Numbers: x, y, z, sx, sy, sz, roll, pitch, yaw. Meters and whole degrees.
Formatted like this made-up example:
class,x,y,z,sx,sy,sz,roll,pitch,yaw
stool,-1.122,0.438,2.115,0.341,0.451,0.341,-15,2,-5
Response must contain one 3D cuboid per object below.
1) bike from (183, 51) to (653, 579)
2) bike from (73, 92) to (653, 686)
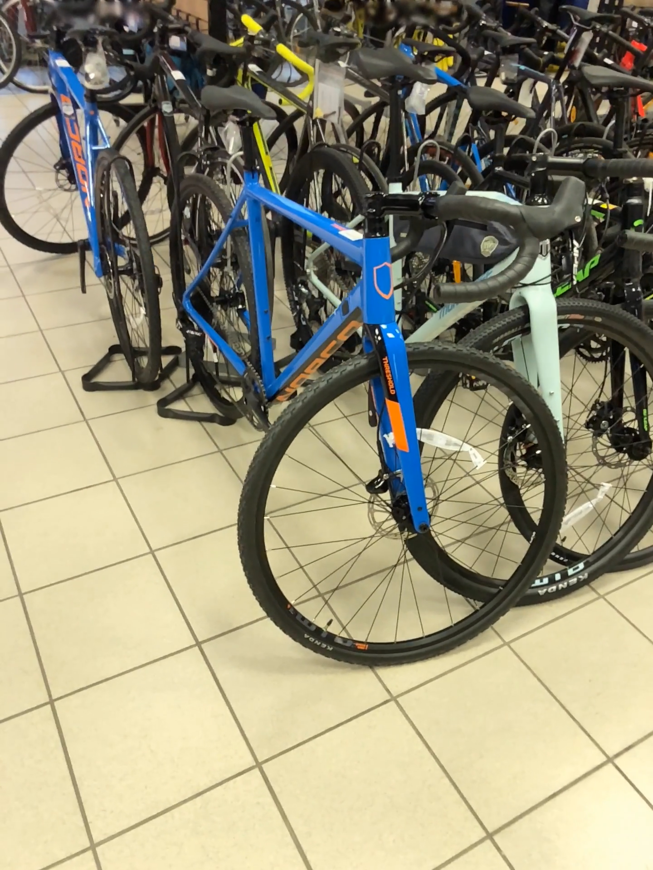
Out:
class,x,y,z,sx,sy,sz,roll,pitch,yaw
bike,0.343,-0.429,1.972,0.618,0.870,1.424,-25,46,-35
bike,0.032,-0.221,1.889,0.526,0.805,1.472,-25,50,-34
